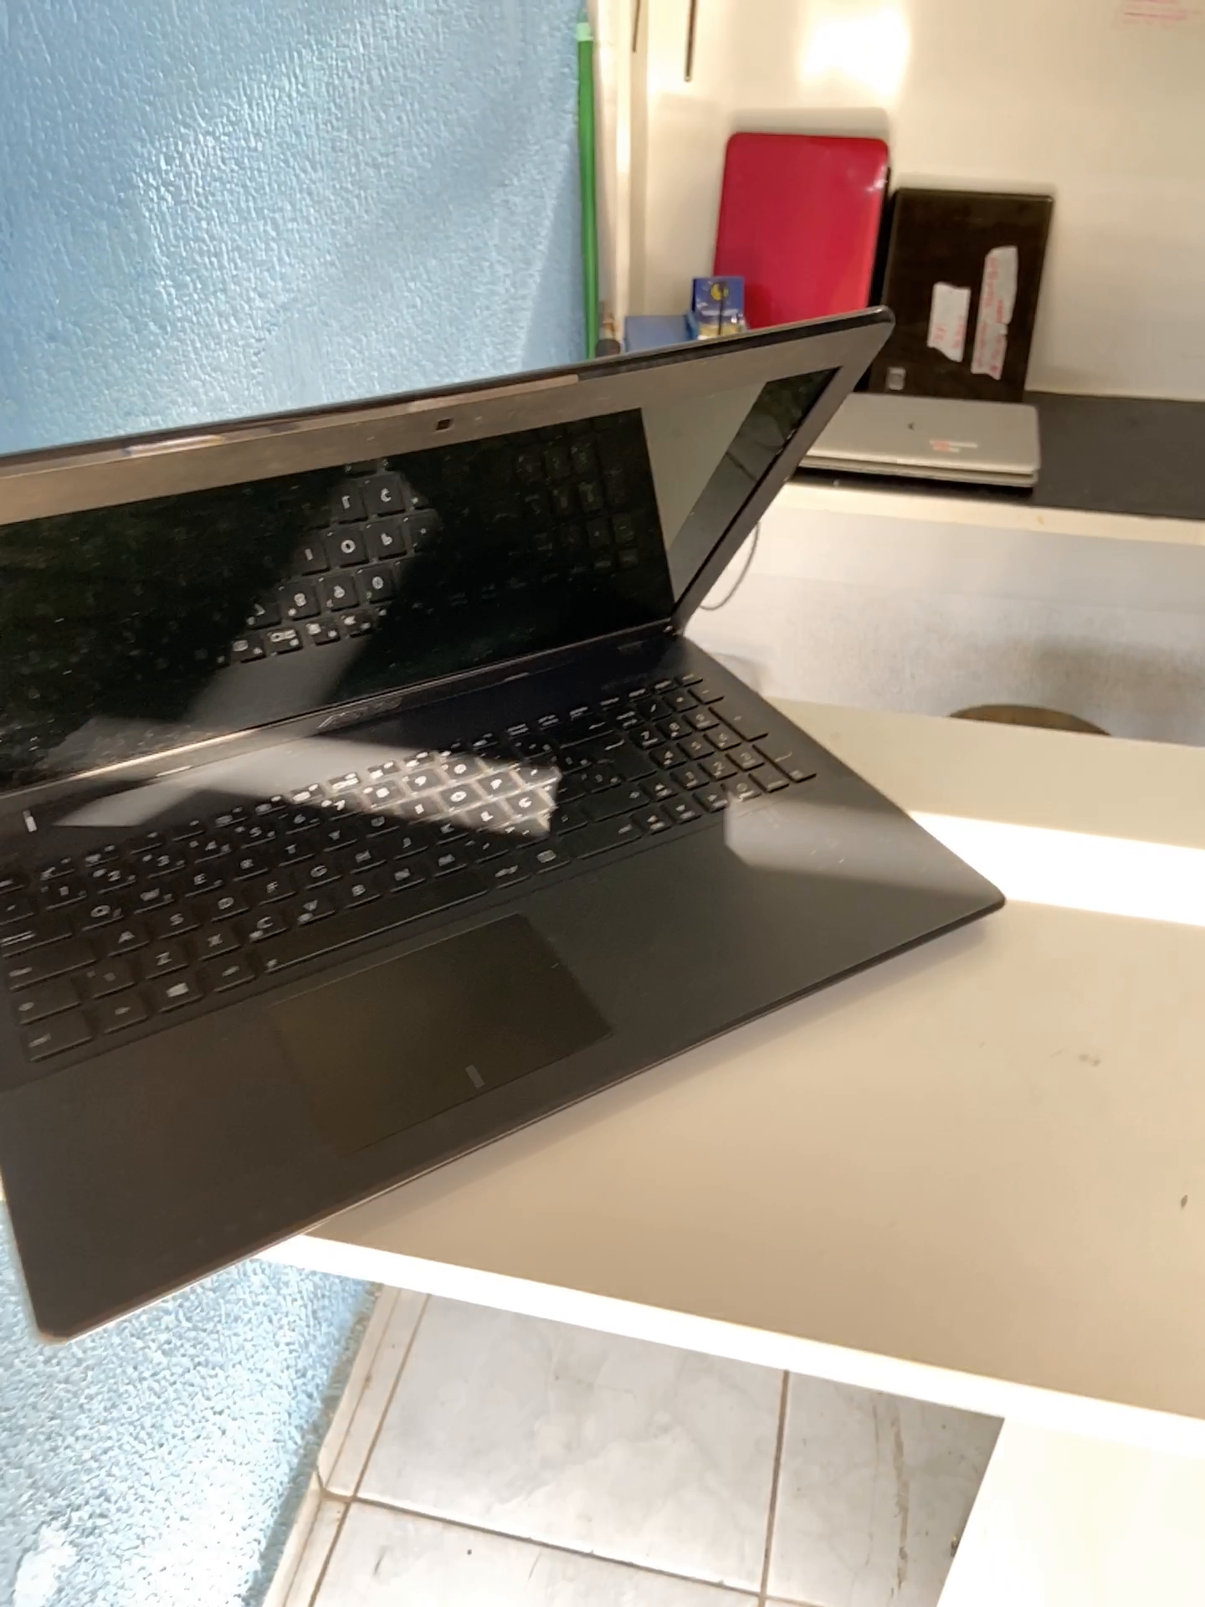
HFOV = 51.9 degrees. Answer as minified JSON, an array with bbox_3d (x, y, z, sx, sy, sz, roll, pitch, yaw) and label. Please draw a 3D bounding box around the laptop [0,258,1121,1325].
[{"bbox_3d":[-0.056,-0.049,0.454,0.373,0.190,0.239,-18,40,-24],"label":"laptop"}]
